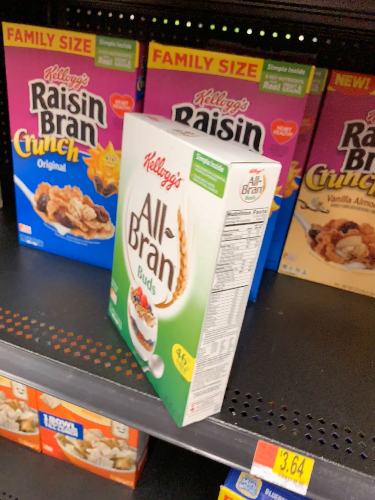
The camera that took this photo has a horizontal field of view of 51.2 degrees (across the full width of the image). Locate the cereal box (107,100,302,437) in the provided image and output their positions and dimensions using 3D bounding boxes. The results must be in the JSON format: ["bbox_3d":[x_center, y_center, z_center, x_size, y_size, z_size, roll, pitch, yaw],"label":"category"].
[{"bbox_3d":[-0.012,0.008,0.382,0.050,0.259,0.191,-7,30,-32],"label":"cereal box"}]
